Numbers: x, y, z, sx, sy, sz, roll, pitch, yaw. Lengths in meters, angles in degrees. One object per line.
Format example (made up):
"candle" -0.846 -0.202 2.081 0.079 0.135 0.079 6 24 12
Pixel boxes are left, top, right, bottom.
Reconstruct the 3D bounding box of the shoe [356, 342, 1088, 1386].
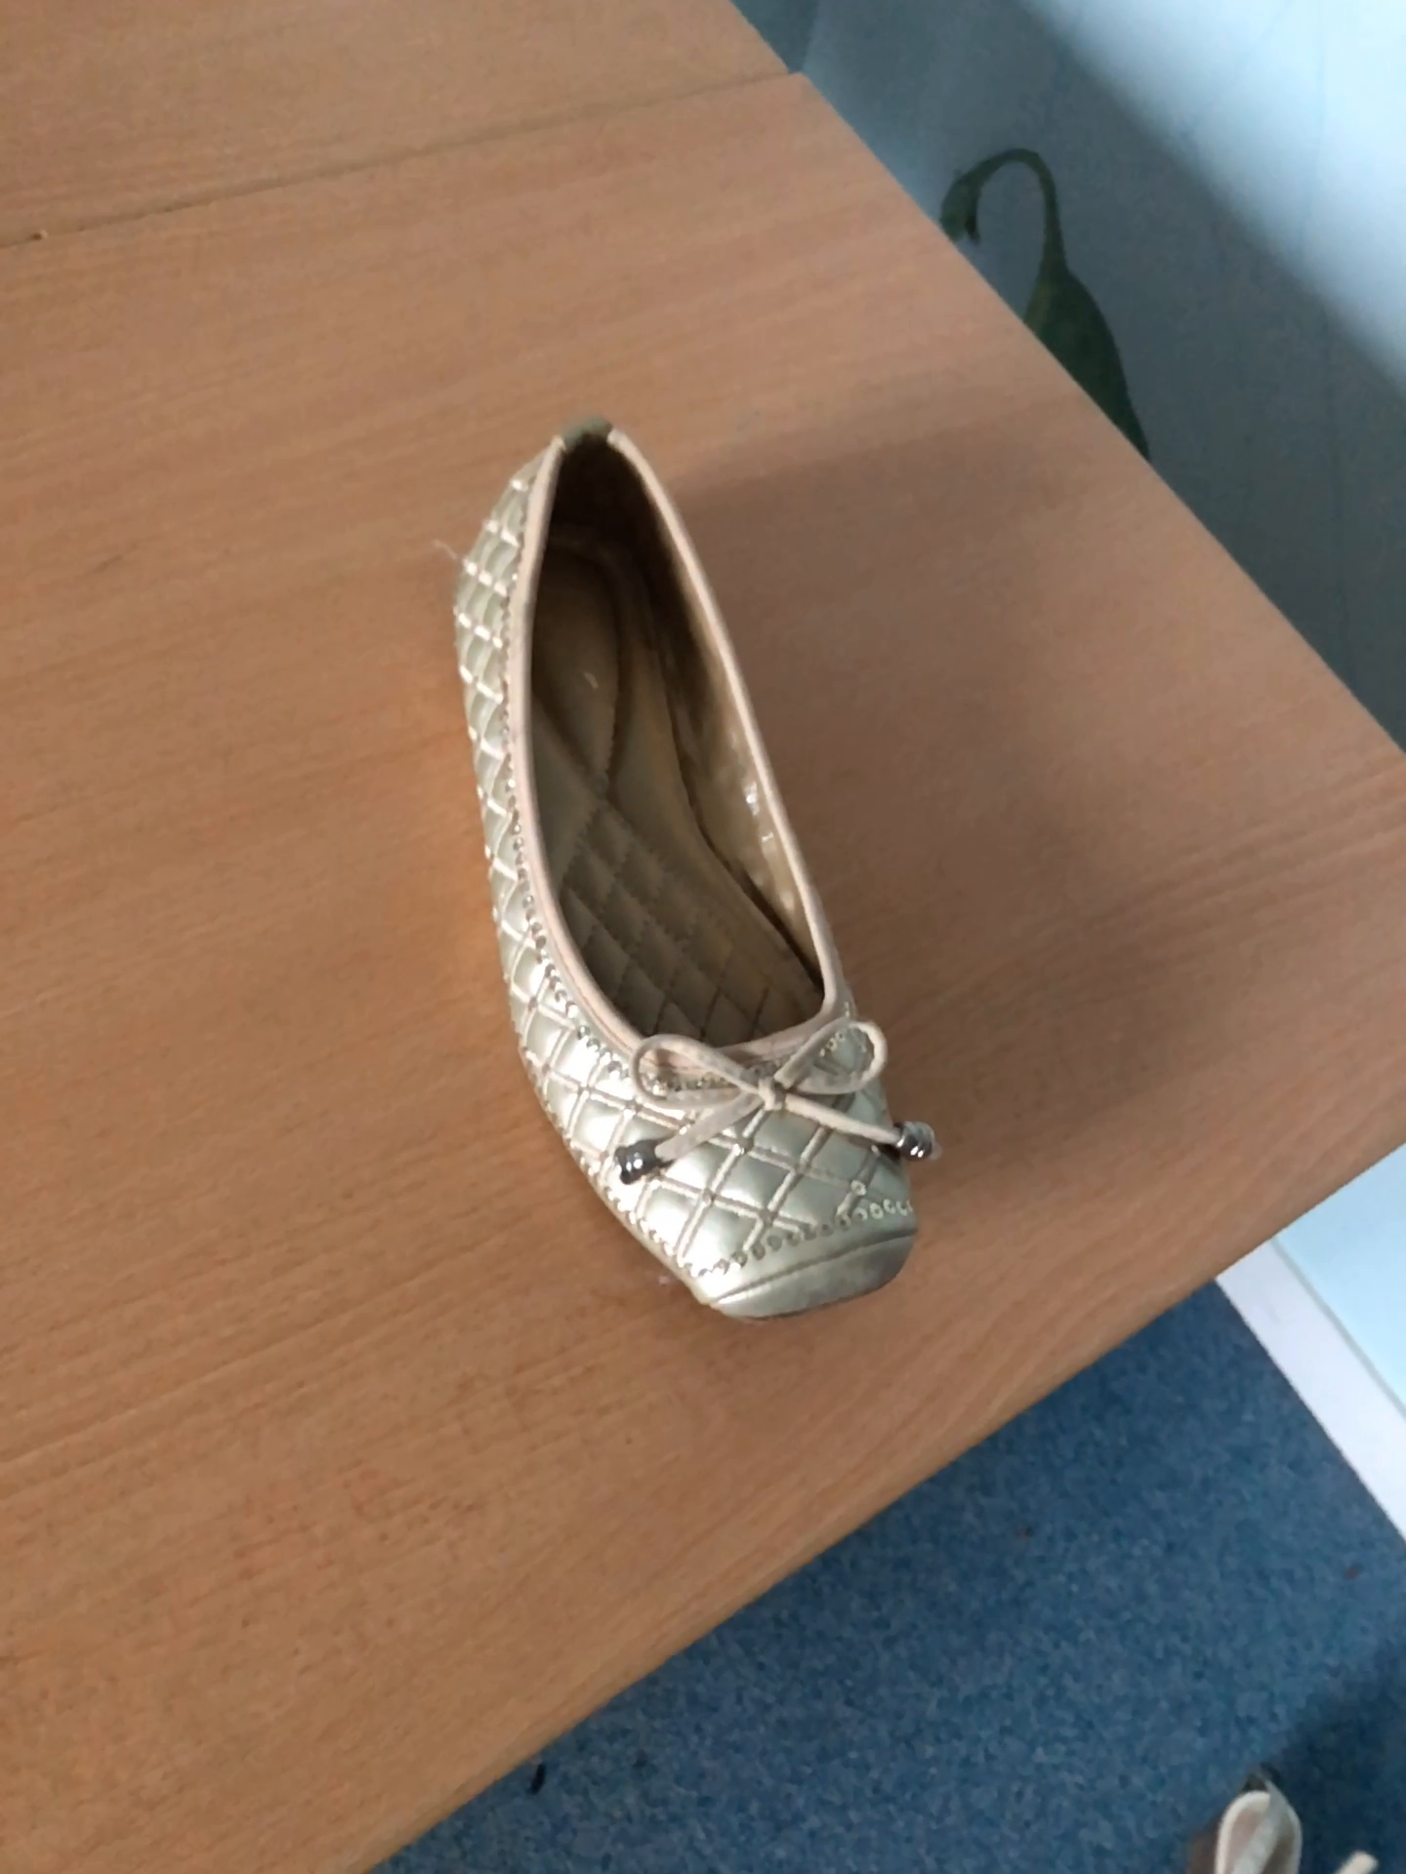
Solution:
"shoe" -0.011 -0.031 0.415 0.100 0.080 0.260 -13 66 -19
